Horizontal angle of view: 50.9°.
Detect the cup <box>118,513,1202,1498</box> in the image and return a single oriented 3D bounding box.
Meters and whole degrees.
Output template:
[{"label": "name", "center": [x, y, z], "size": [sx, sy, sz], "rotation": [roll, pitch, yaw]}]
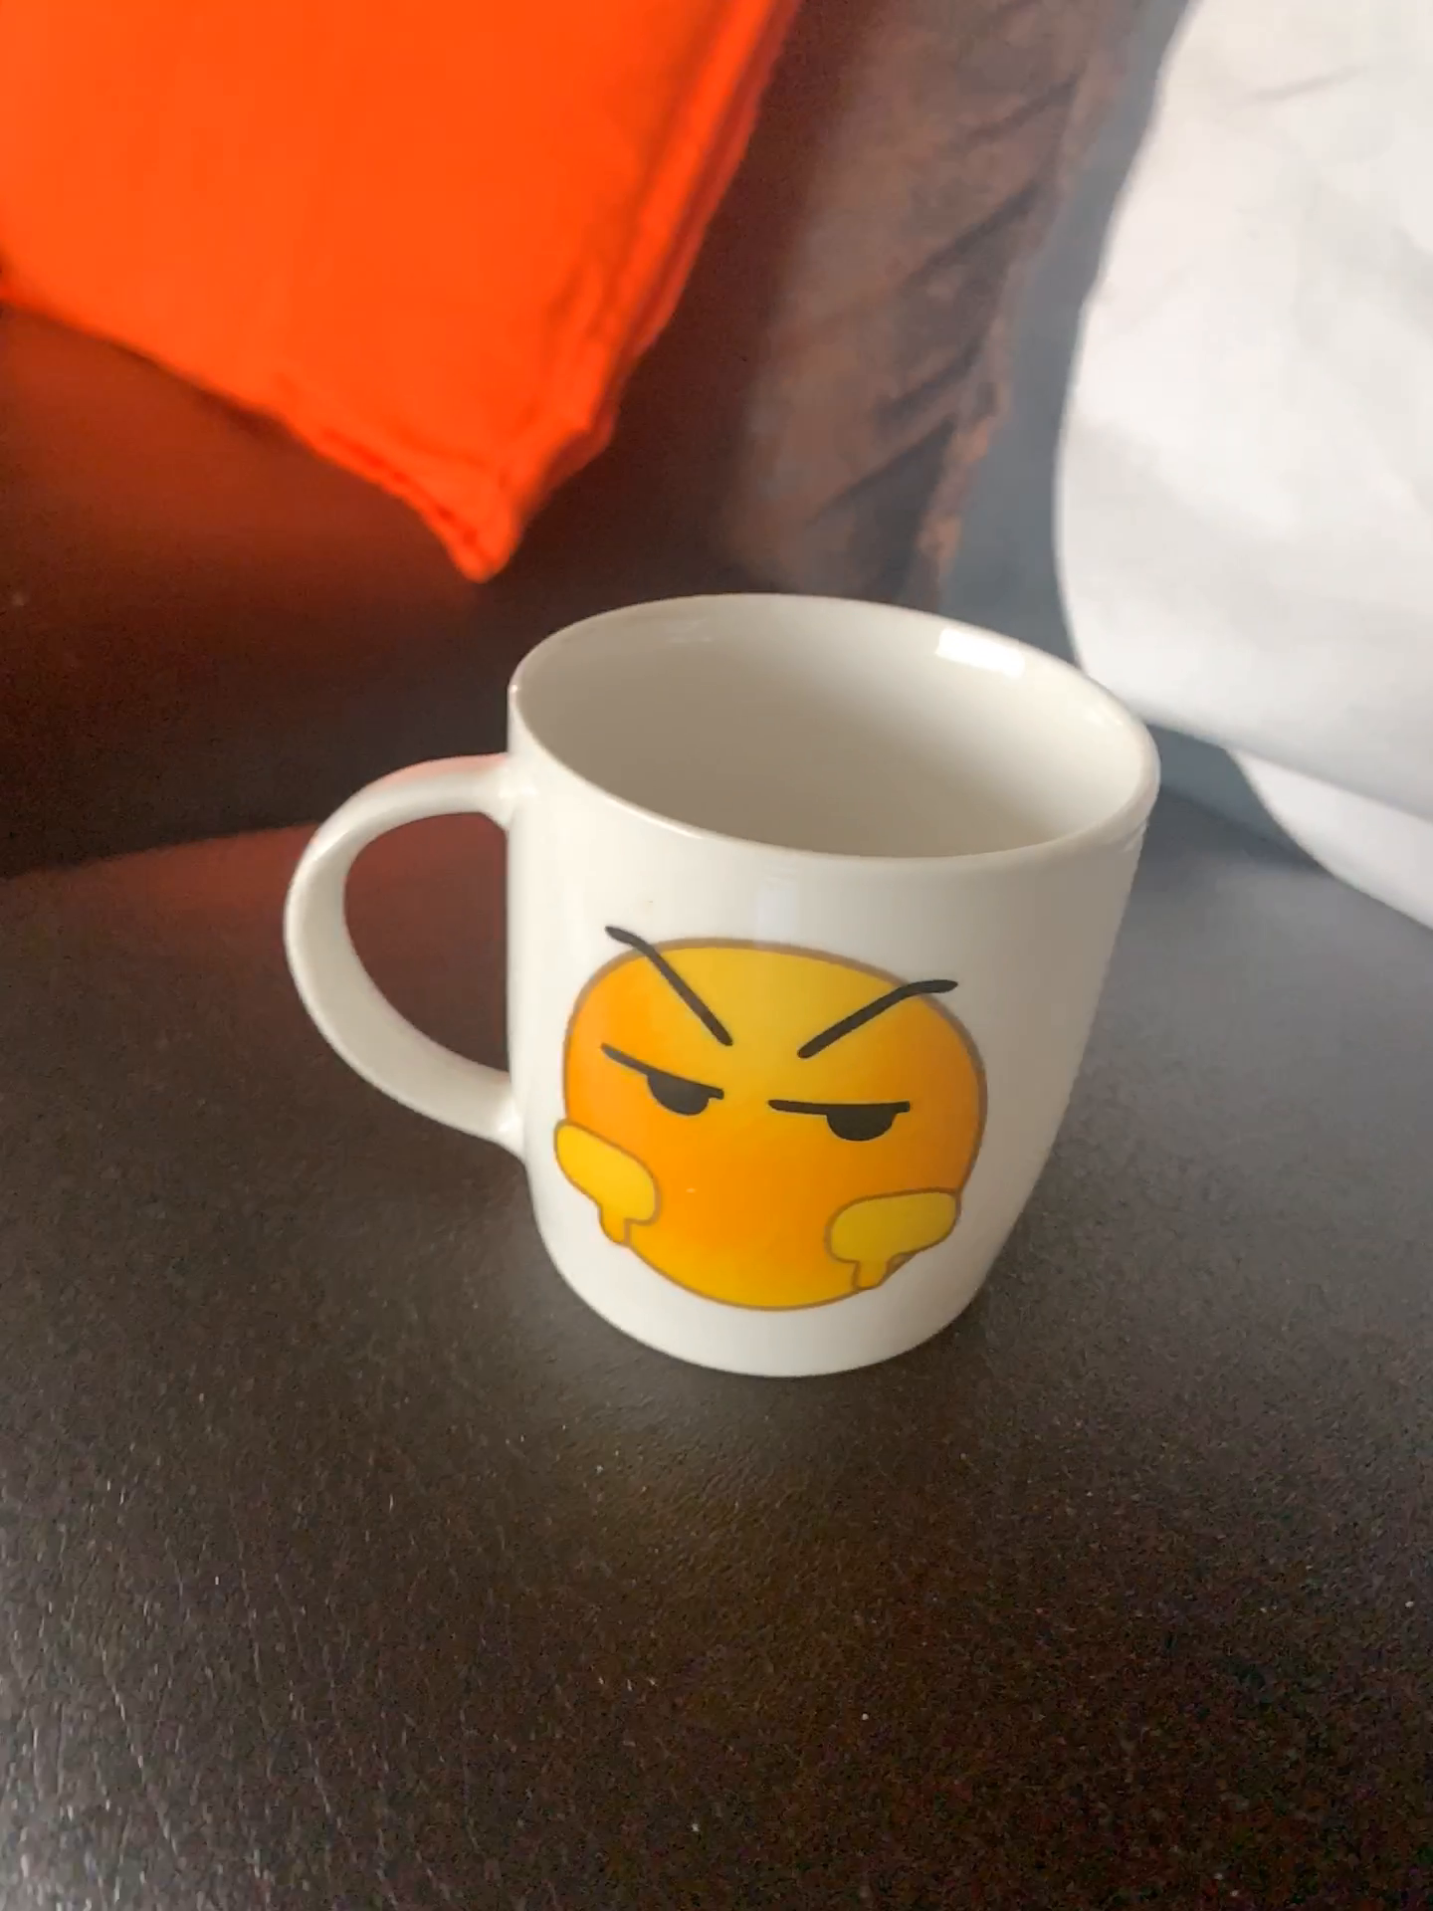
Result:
[{"label": "cup", "center": [-0.007, 0.004, 0.224], "size": [0.120, 0.099, 0.081], "rotation": [10, 32, 4]}]
